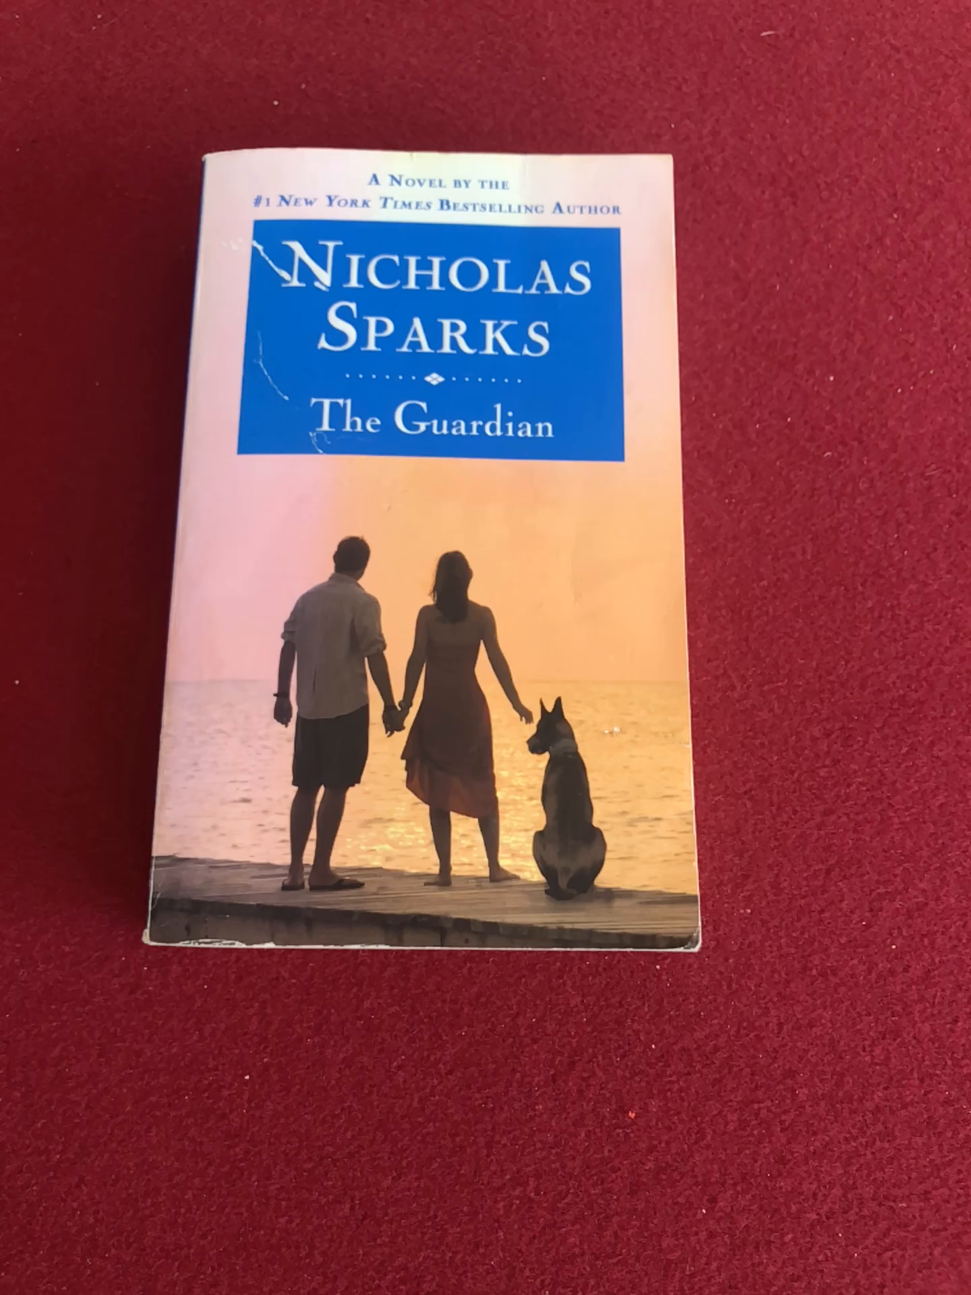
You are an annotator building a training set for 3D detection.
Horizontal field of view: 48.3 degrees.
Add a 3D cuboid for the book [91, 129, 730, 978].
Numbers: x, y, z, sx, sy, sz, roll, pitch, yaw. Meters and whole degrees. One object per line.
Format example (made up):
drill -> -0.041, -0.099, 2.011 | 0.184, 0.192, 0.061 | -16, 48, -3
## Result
book -> -0.011, -0.023, 0.223 | 0.110, 0.030, 0.170 | 2, 75, -1
